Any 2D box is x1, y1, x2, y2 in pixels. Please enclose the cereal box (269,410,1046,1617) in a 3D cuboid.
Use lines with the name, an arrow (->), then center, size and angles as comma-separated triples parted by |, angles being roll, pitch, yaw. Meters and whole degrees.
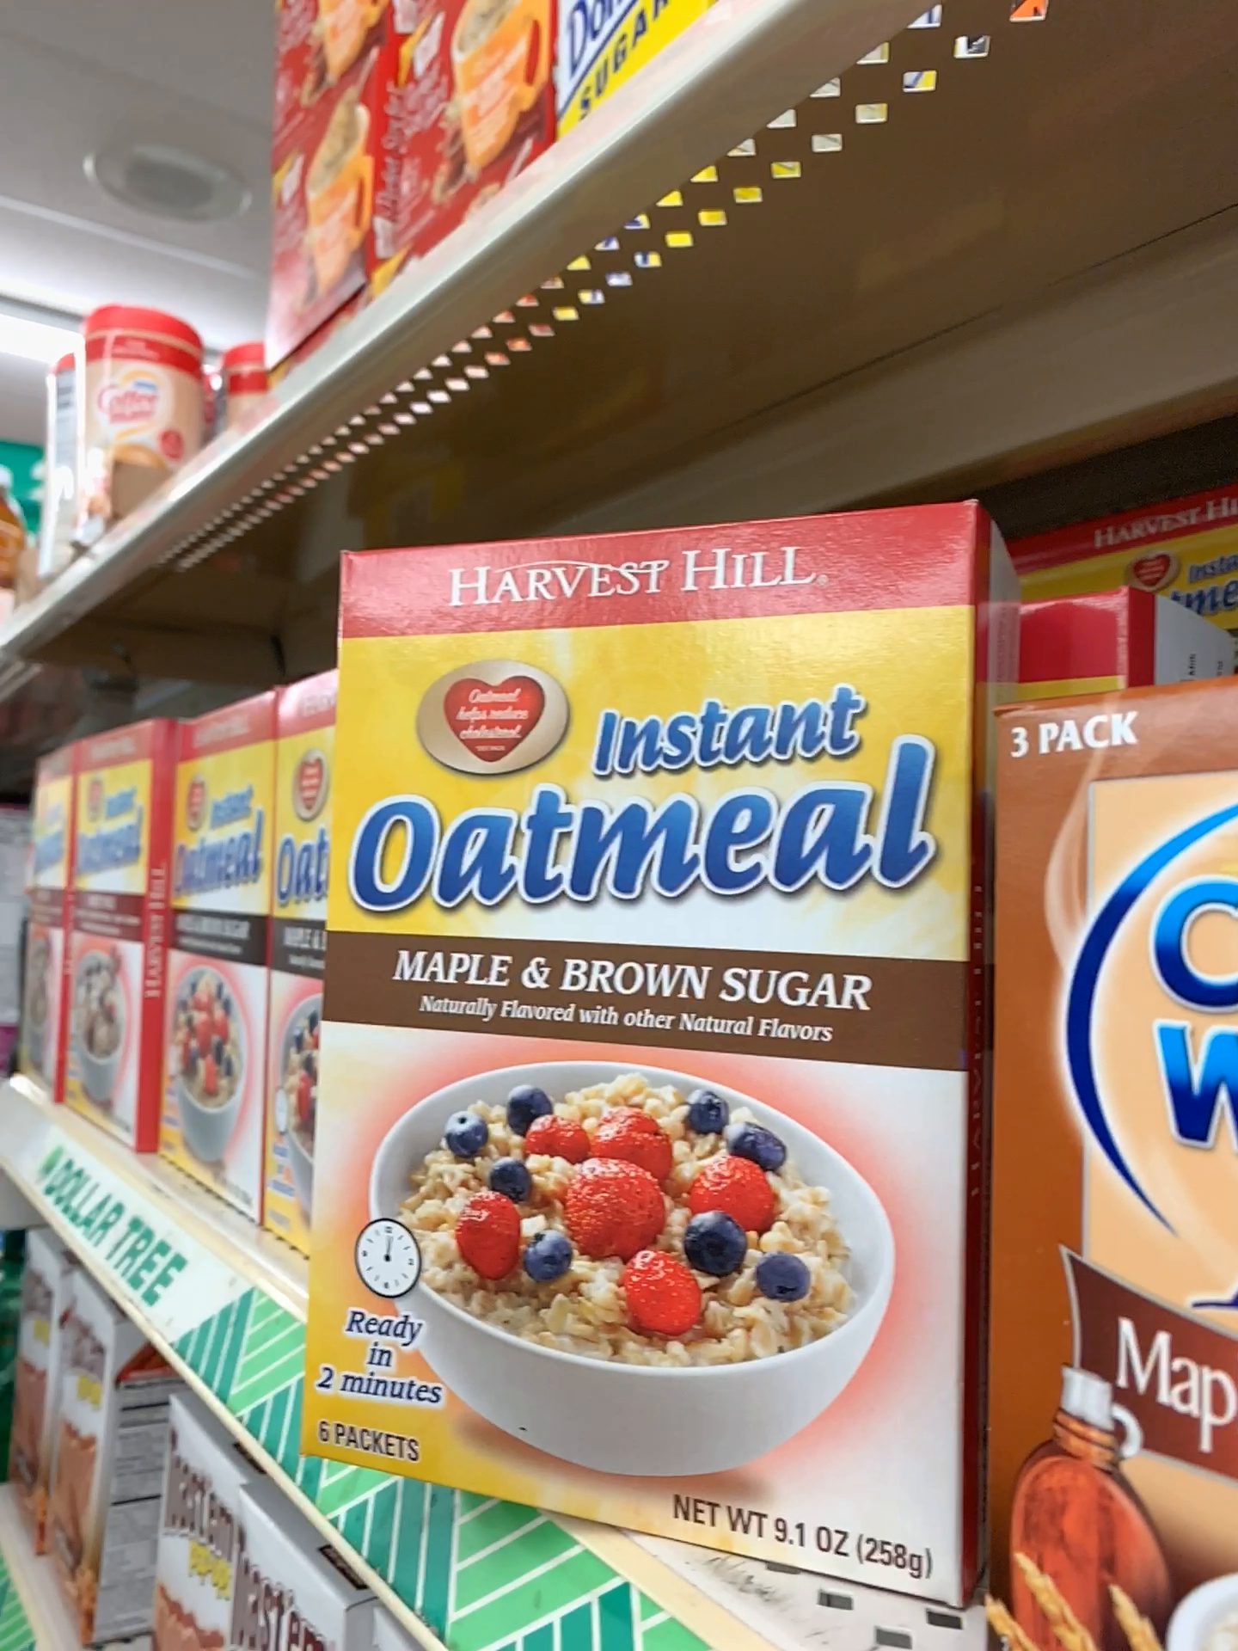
cereal box -> 0.009, 0.026, 0.241 | 0.130, 0.180, 0.050 | 1, -4, 22
